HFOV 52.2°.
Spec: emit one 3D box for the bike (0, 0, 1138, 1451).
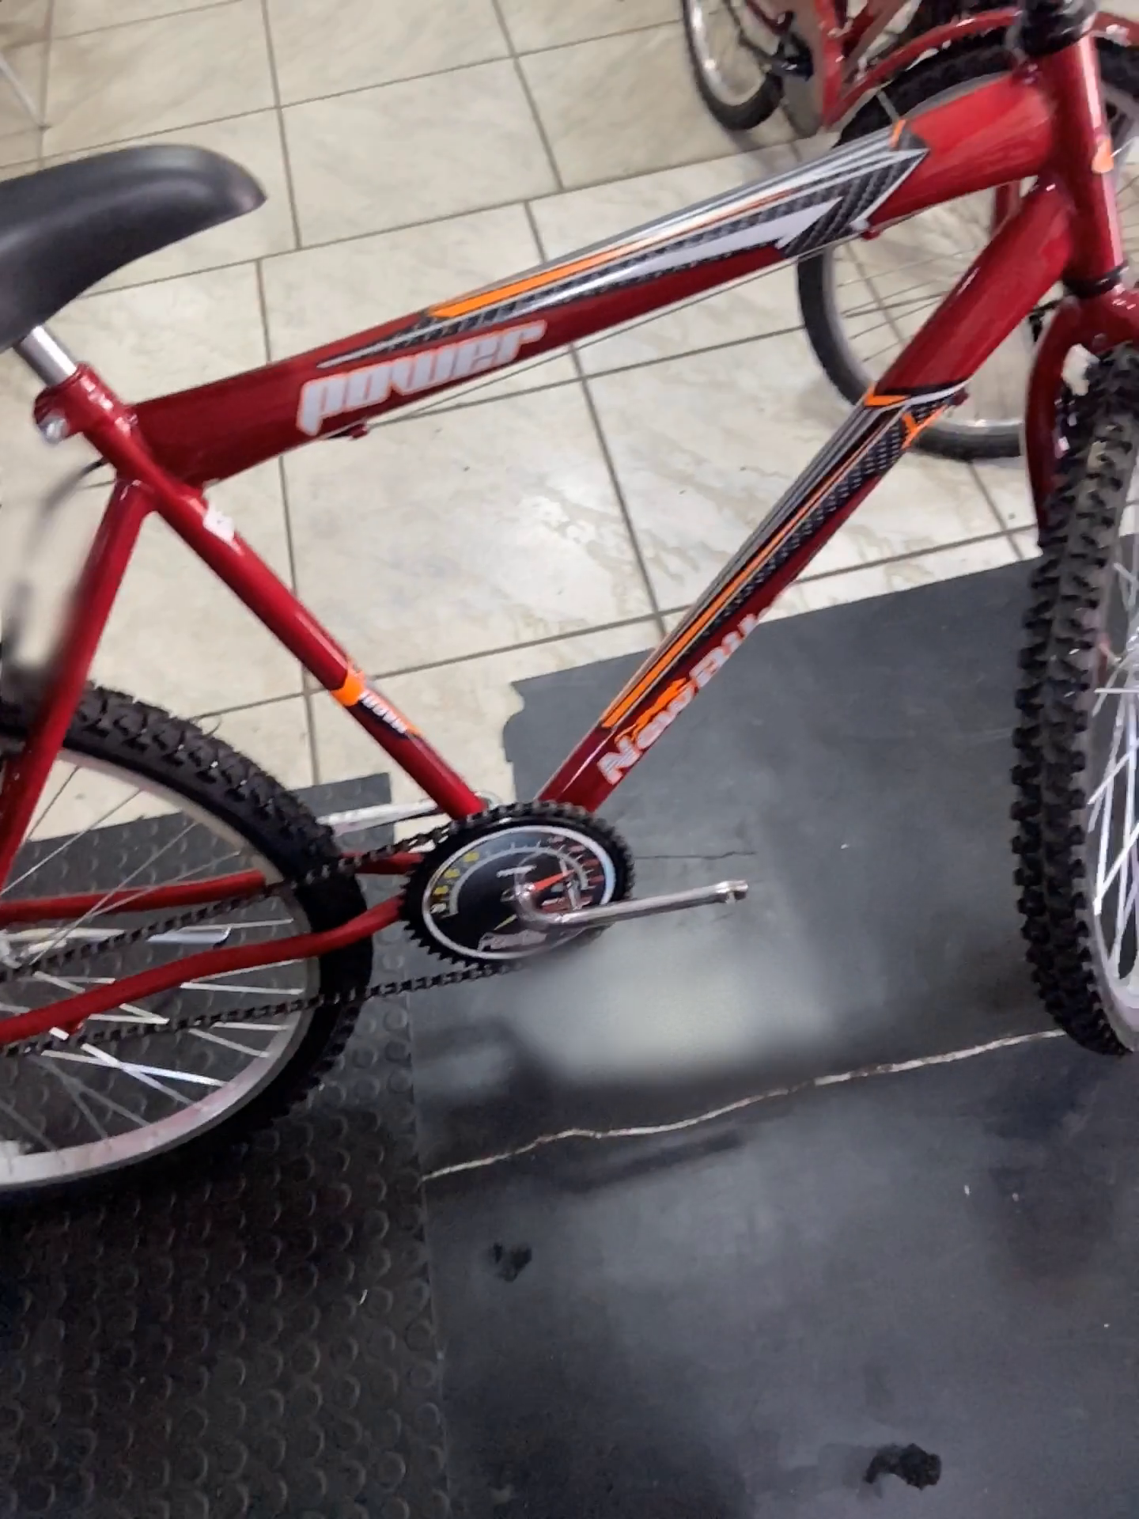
[{"bbox_3d":[-0.147,-0.195,0.802,1.582,1.030,0.568,-23,58,-4],"label":"bike"}]
